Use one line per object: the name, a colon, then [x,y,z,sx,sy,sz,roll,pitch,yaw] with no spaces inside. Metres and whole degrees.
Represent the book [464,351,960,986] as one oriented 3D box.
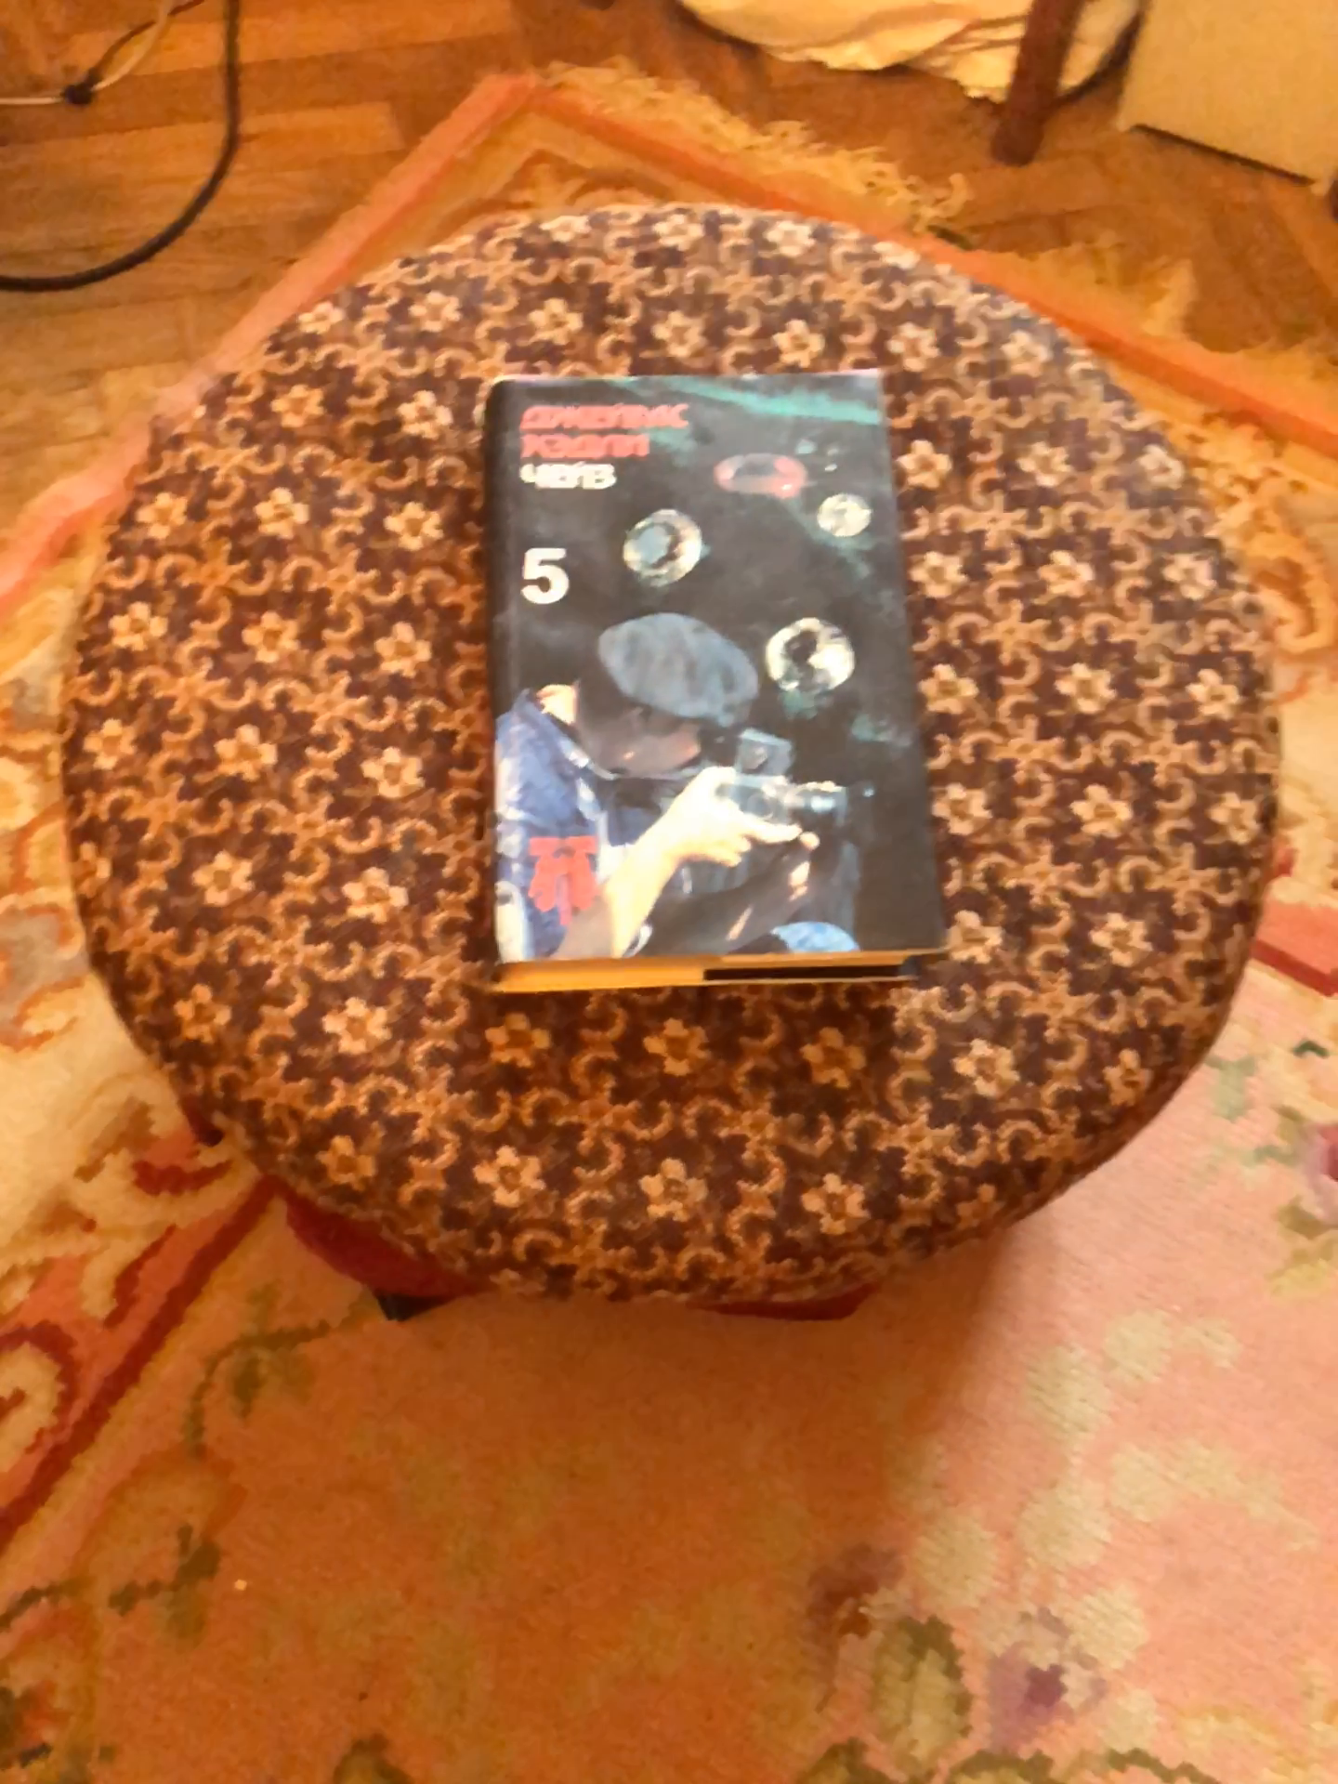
book: [0.009,-0.074,0.454,0.140,0.020,0.206,0,72,-4]
